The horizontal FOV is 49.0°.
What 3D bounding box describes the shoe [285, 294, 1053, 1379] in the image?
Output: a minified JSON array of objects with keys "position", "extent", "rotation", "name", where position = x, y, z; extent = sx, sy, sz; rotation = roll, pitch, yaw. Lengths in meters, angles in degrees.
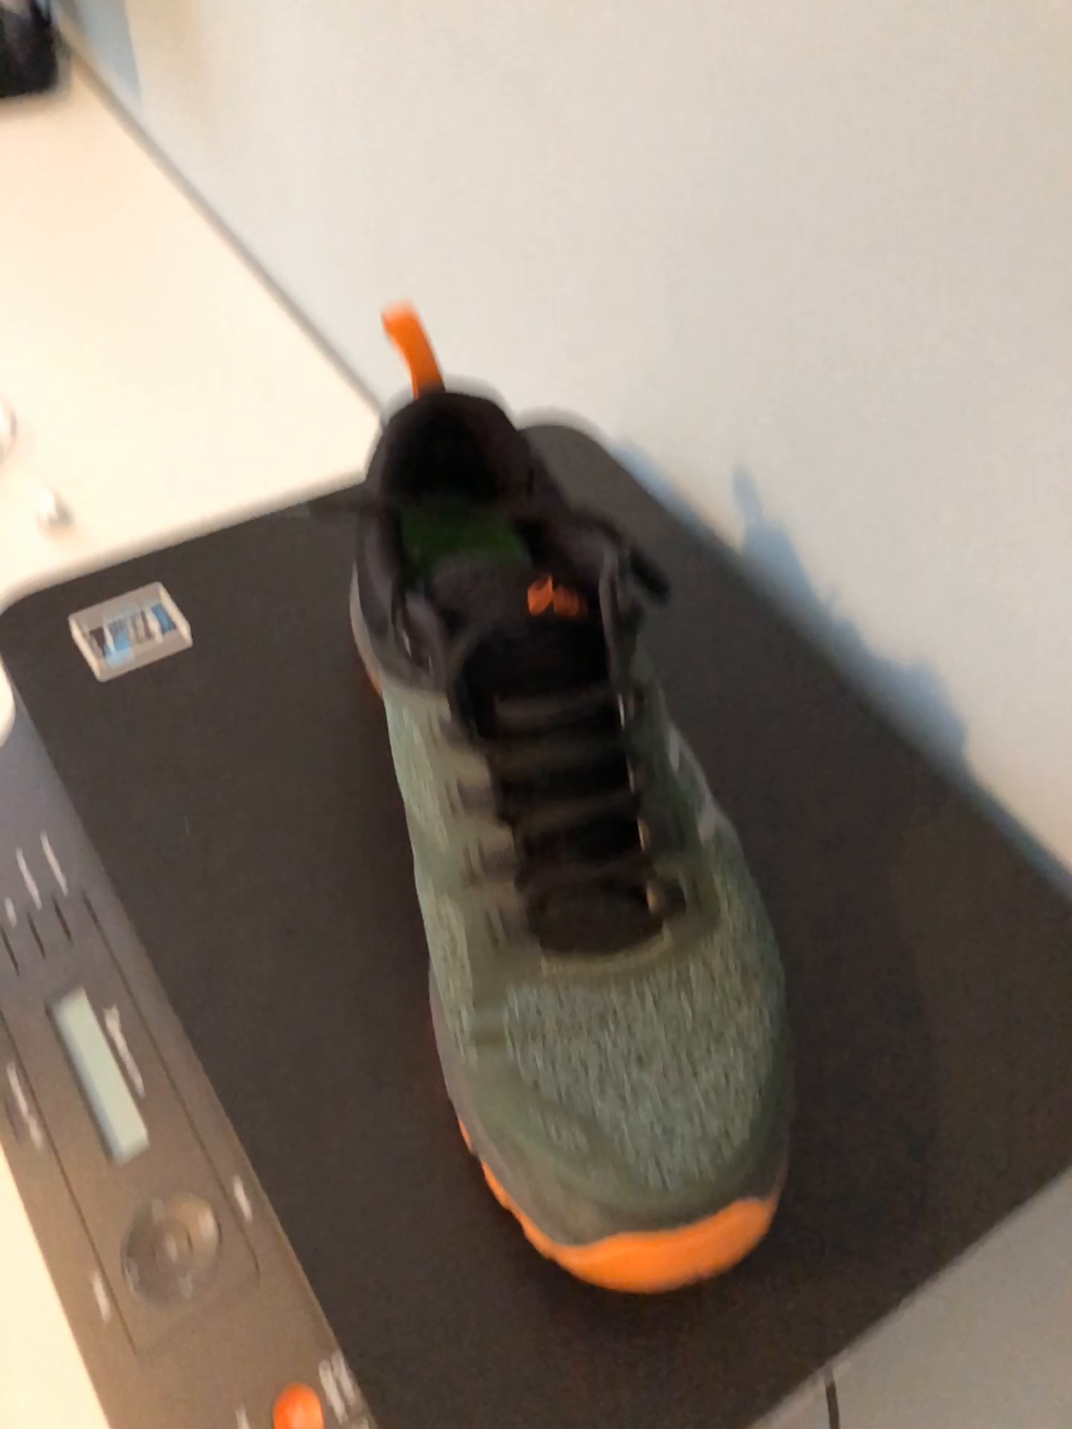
[{"position":[0.007,0.012,0.373],"extent":[0.120,0.119,0.312],"rotation":[-9,53,-12],"name":"shoe"}]
